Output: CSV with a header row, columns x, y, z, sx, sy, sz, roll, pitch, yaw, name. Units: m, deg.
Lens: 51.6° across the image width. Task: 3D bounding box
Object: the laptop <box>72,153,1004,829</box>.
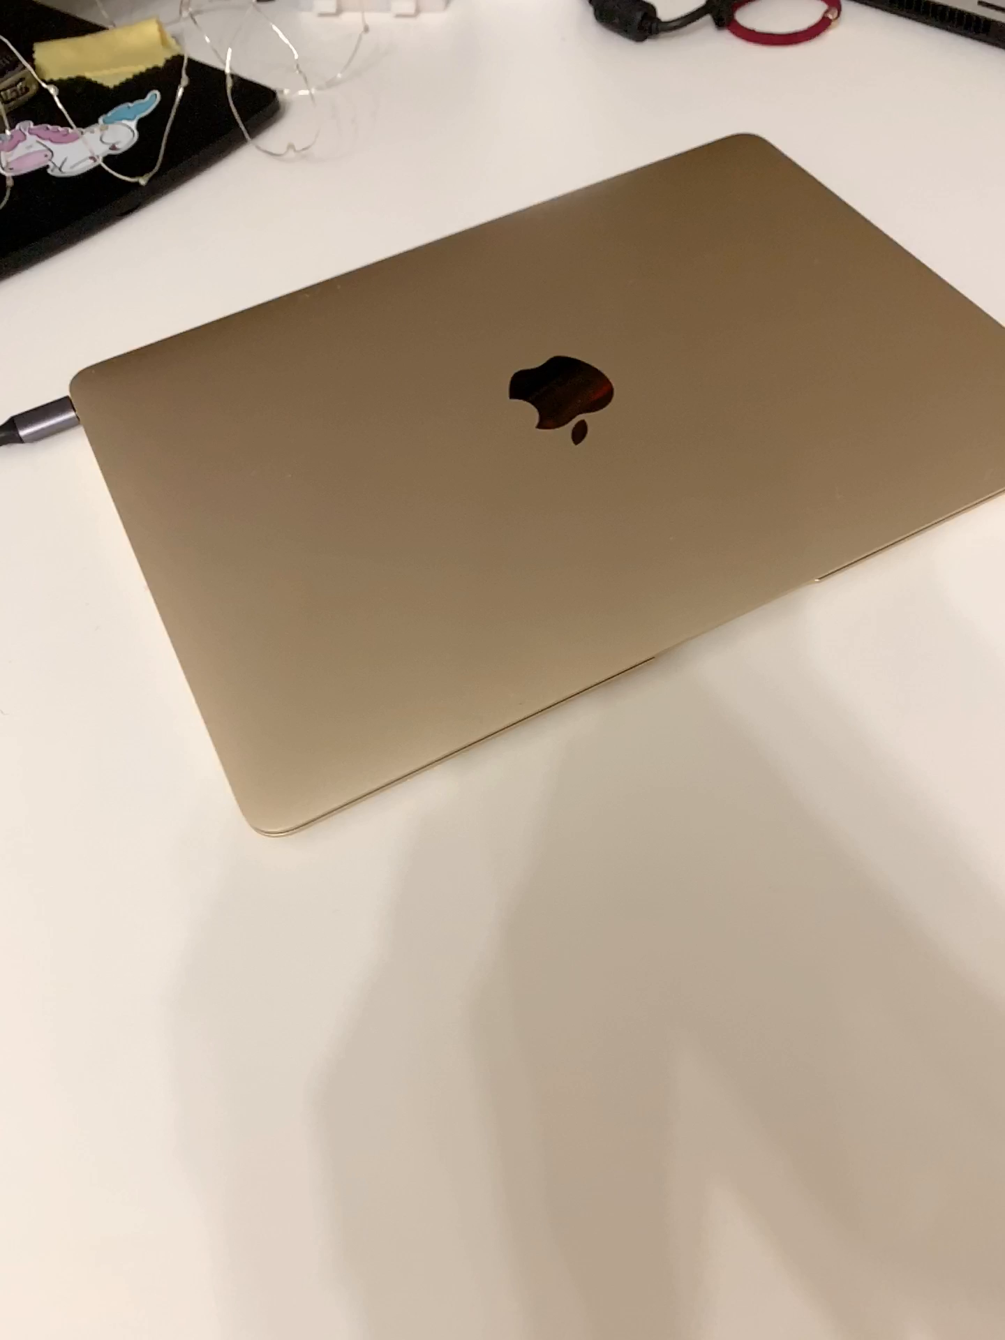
x,y,z,sx,sy,sz,roll,pitch,yaw,name
0.016,-0.079,0.327,0.255,0.013,0.174,-25,60,-15,laptop
